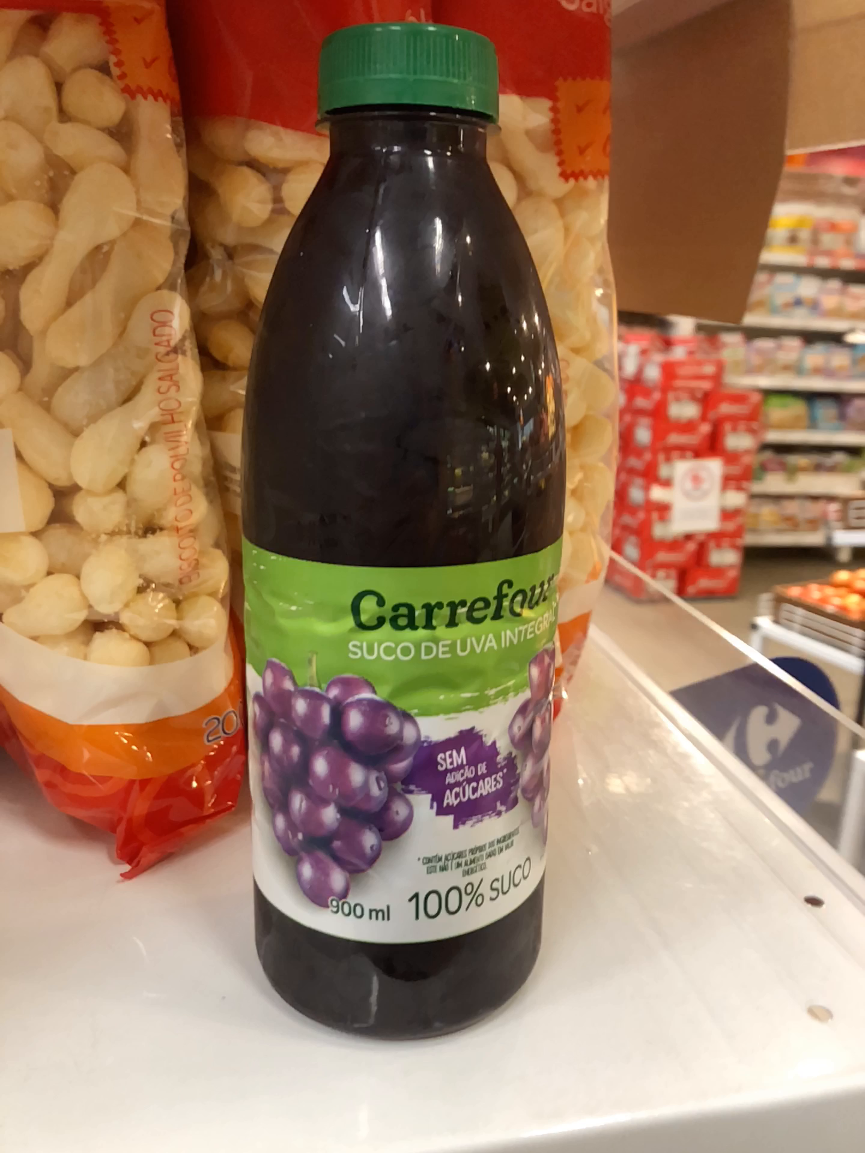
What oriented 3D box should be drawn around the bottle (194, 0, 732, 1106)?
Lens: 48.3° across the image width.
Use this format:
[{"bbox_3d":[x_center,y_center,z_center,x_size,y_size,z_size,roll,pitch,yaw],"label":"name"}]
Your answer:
[{"bbox_3d":[-0.002,-0.006,0.242,0.090,0.229,0.080,-6,18,-29],"label":"bottle"}]
